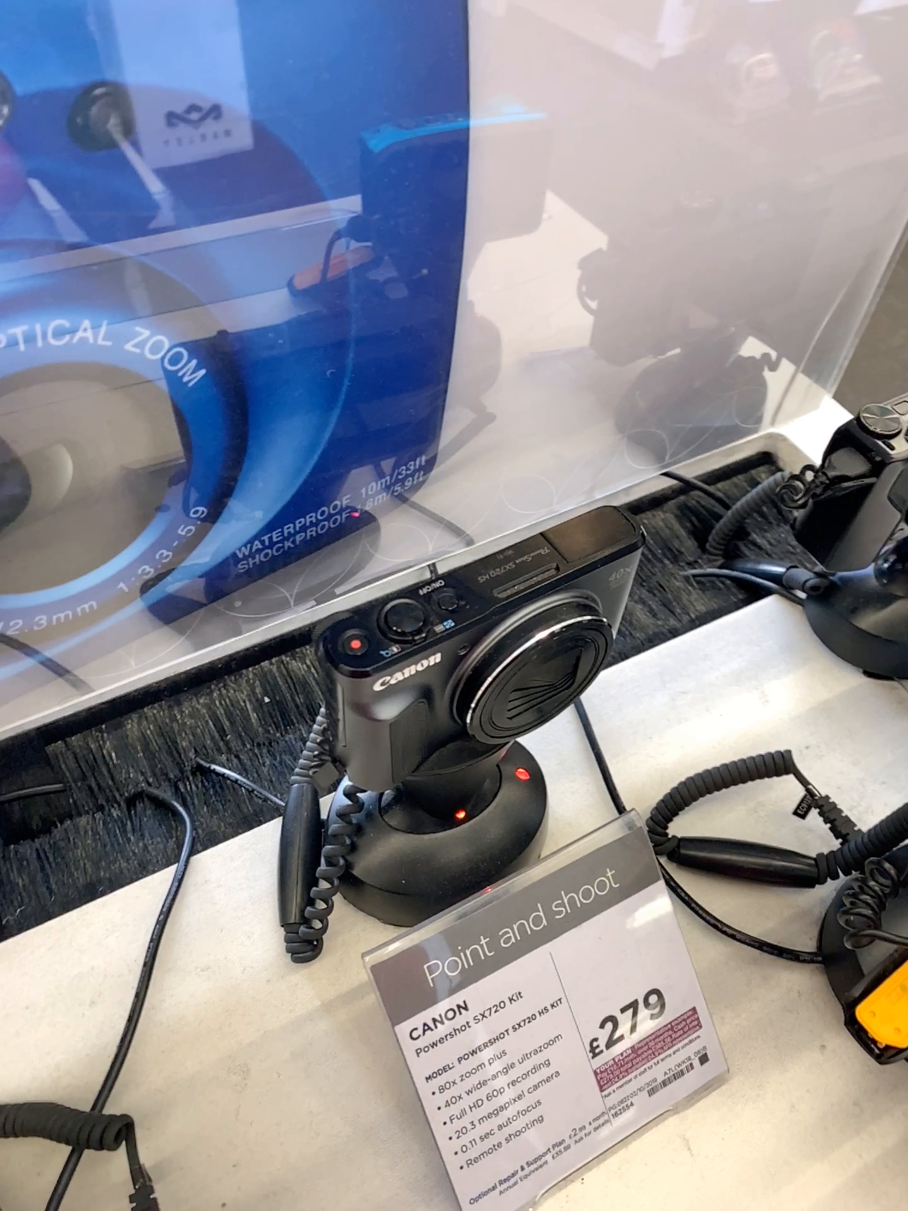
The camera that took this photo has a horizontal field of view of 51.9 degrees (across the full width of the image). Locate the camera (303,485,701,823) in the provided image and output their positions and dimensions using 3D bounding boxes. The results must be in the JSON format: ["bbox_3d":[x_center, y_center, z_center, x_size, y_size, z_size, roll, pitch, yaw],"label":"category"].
[{"bbox_3d":[0.014,0.014,0.282,0.113,0.061,0.031,-24,57,-22],"label":"camera"}]
